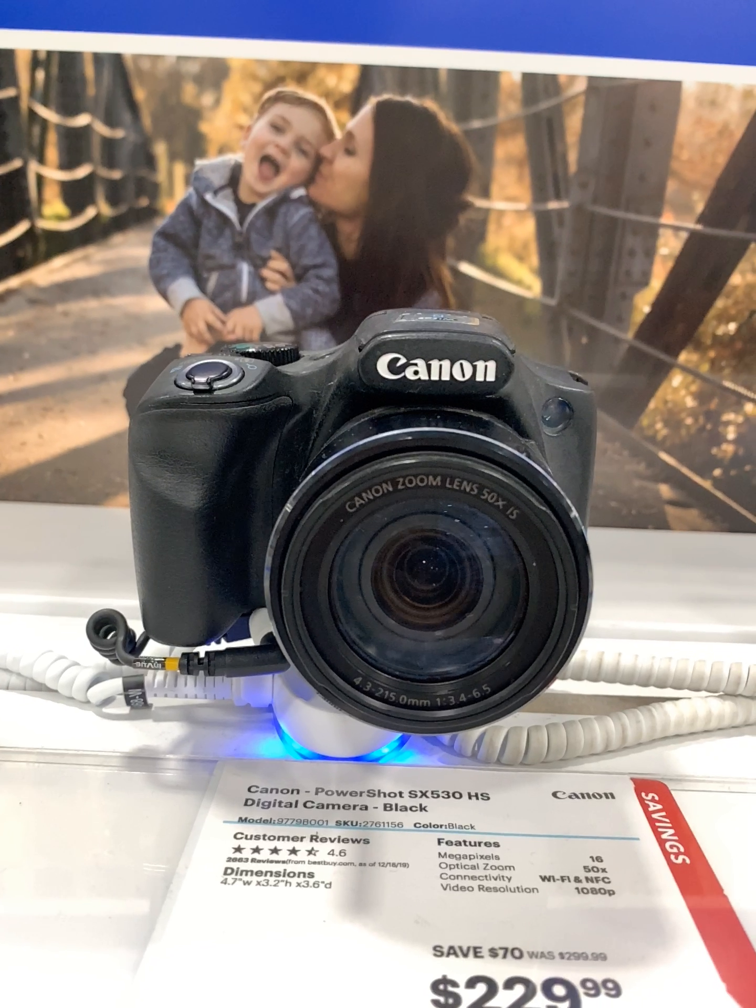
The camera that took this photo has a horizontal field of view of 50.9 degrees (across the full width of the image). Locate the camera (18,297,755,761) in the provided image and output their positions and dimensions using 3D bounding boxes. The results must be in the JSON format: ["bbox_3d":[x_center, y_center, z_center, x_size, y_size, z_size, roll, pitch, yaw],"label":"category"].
[{"bbox_3d":[-0.001,-0.003,0.186,0.124,0.080,0.090,3,14,-2],"label":"camera"}]
